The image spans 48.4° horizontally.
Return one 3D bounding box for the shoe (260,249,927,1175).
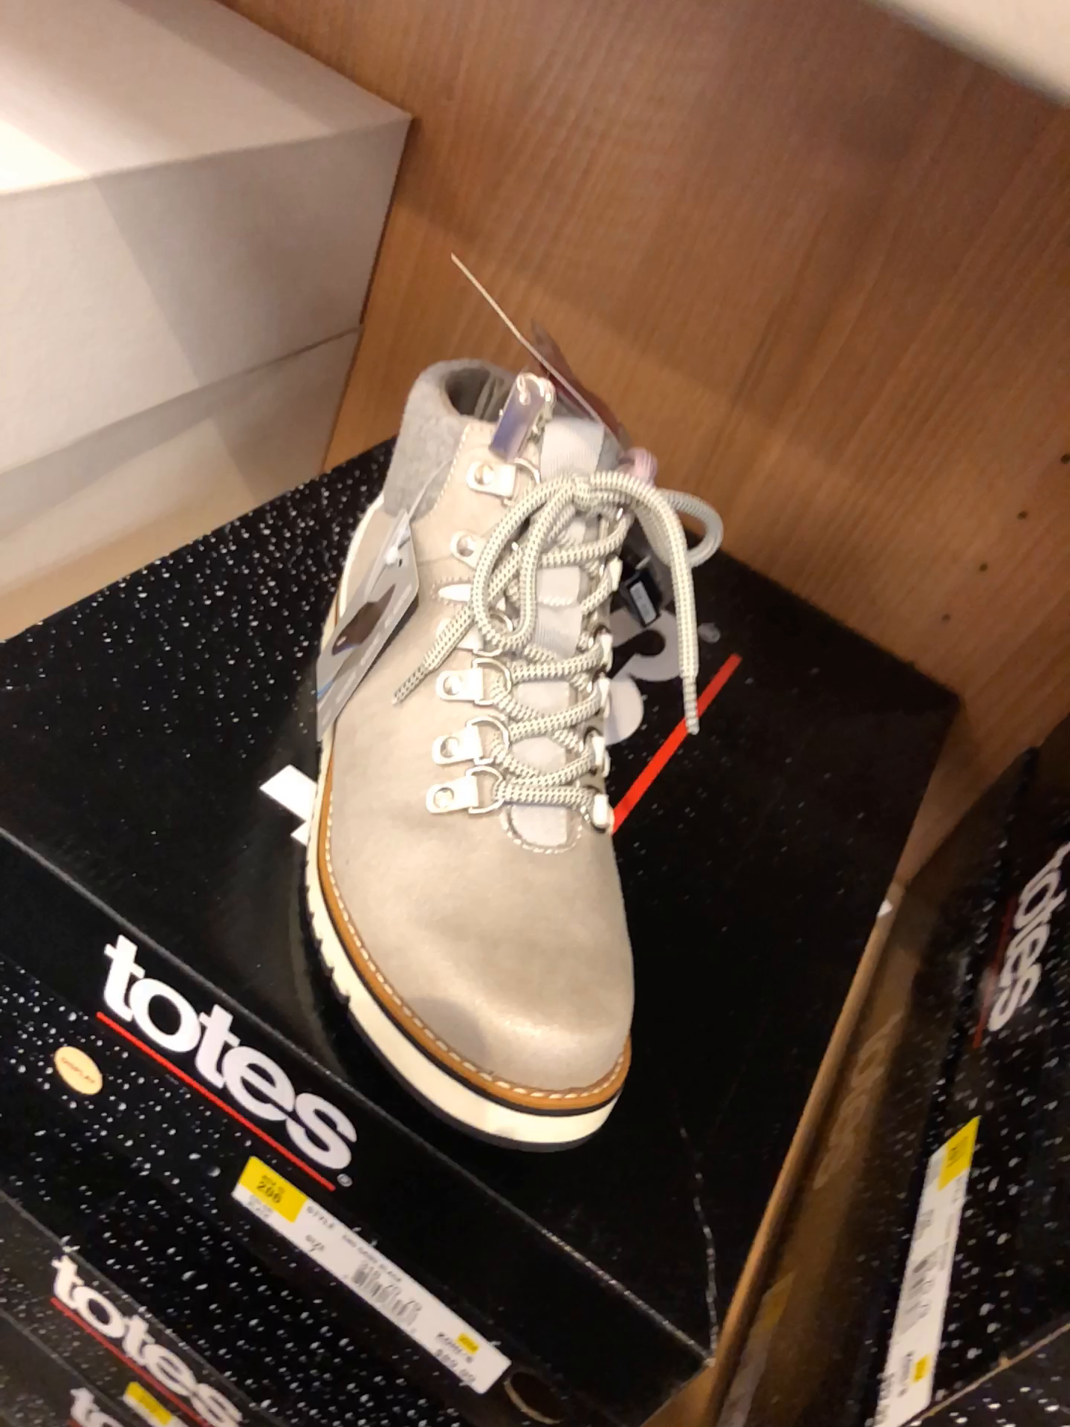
[{"bbox_3d":[-0.011,-0.009,0.347,0.099,0.134,0.228,7,42,-23],"label":"shoe"}]
